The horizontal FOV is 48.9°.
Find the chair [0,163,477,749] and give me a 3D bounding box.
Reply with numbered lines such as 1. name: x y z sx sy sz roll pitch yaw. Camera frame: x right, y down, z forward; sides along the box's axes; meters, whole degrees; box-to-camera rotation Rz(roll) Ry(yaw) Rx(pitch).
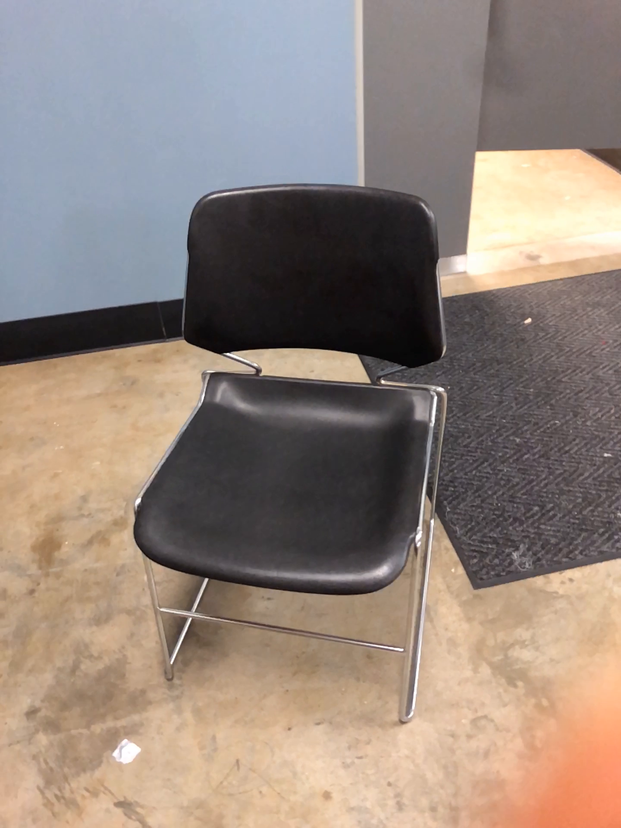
1. chair: -0.029 0.058 1.149 0.524 0.765 0.552 5 39 12
